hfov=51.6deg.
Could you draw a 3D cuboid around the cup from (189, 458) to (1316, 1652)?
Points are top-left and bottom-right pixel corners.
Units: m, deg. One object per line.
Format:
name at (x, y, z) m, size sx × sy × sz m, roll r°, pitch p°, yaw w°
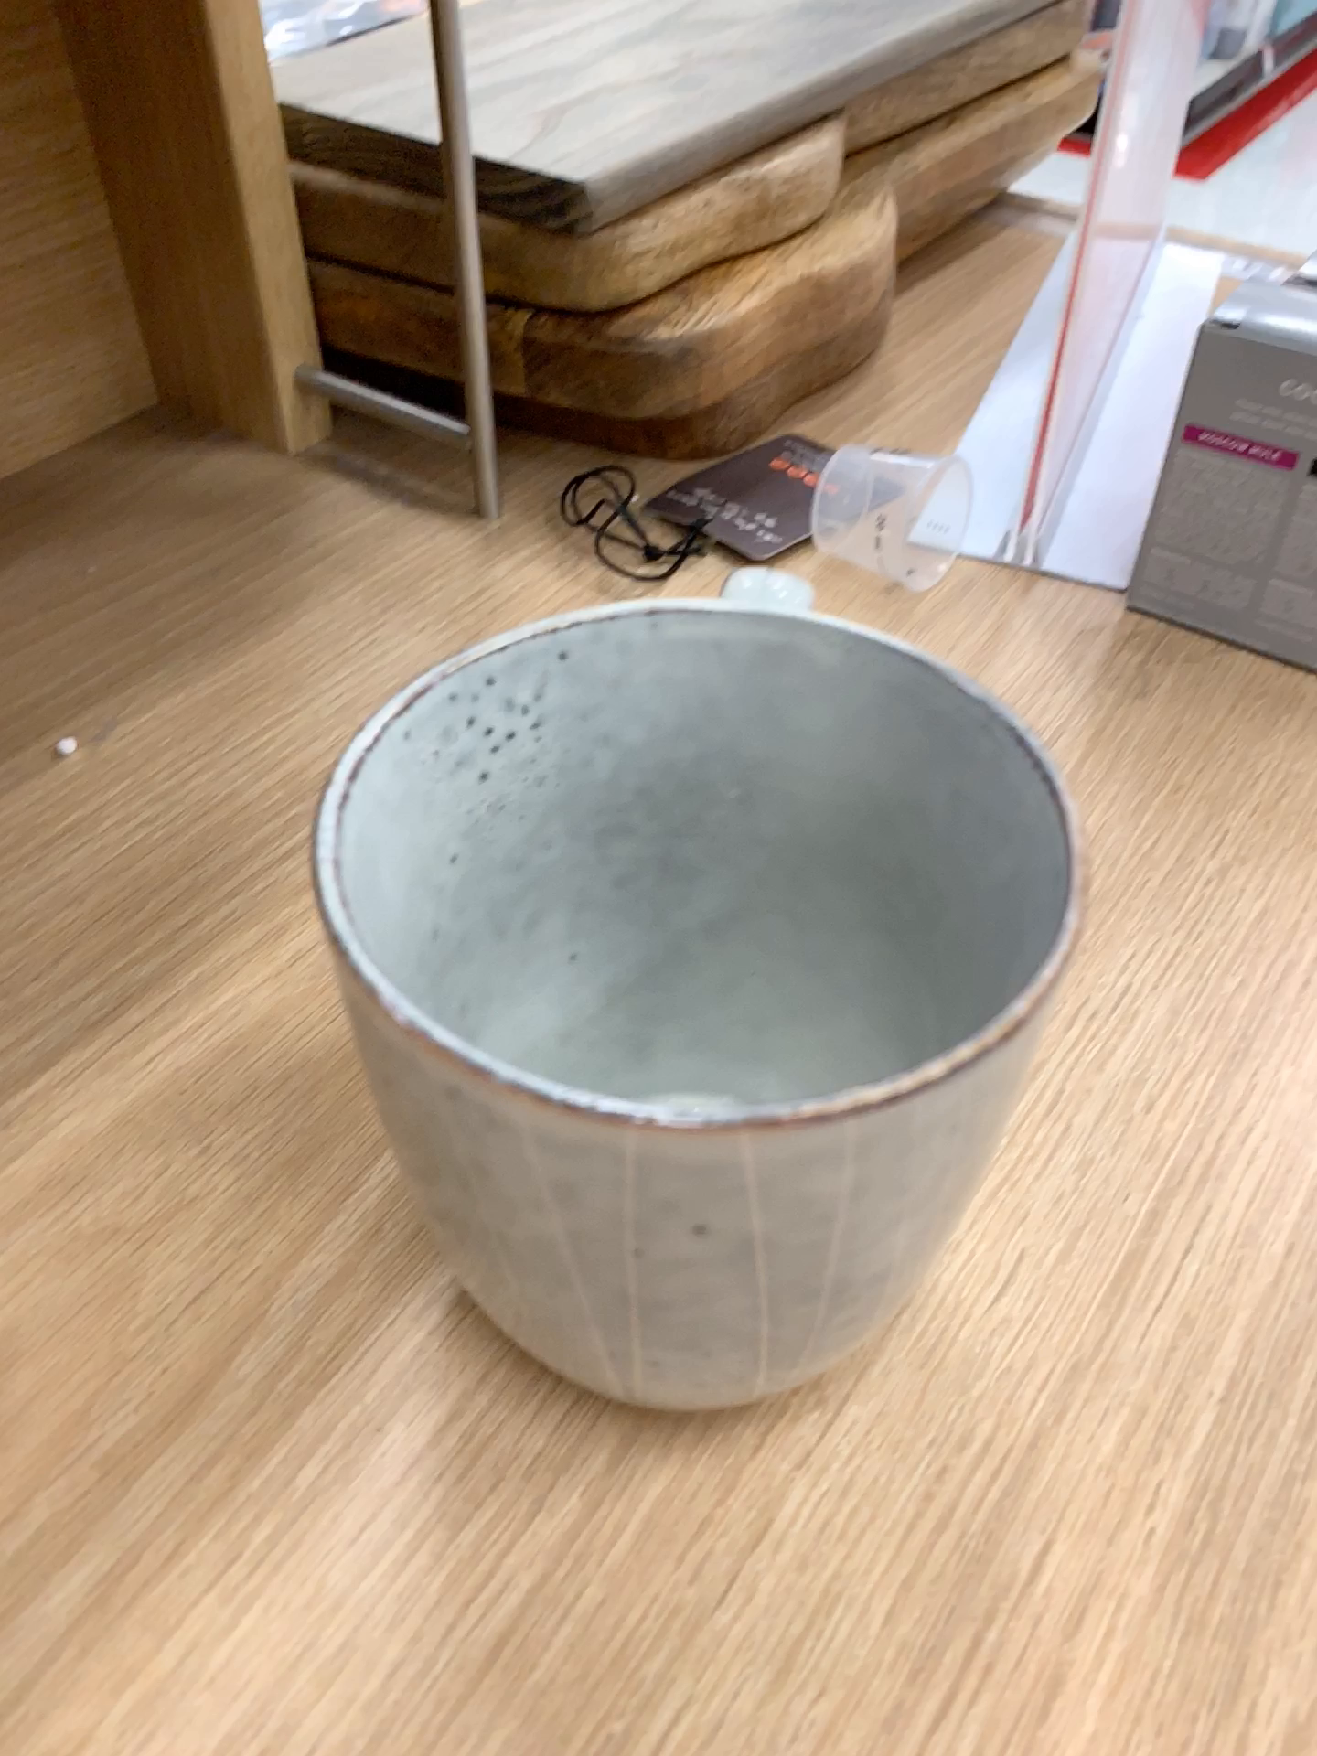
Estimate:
cup at (0.014, 0.020, 0.203) m, size 0.107 × 0.098 × 0.136 m, roll 5°, pitch 45°, yaw 1°
